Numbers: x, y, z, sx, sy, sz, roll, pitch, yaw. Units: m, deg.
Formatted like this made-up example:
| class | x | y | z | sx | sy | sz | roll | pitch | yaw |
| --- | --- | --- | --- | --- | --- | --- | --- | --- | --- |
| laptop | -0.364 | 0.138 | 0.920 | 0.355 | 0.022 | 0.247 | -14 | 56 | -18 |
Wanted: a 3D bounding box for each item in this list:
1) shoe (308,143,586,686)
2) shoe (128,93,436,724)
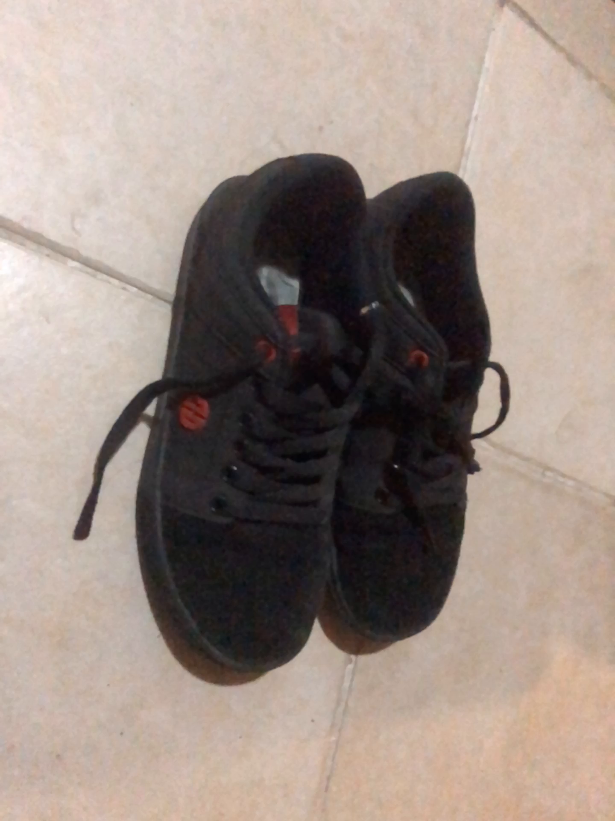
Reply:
| class | x | y | z | sx | sy | sz | roll | pitch | yaw |
| --- | --- | --- | --- | --- | --- | --- | --- | --- | --- |
| shoe | 0.071 | 0.003 | 0.371 | 0.101 | 0.099 | 0.240 | 2 | 84 | -32 |
| shoe | -0.013 | 0.001 | 0.327 | 0.101 | 0.099 | 0.240 | 6 | 82 | -32 |
